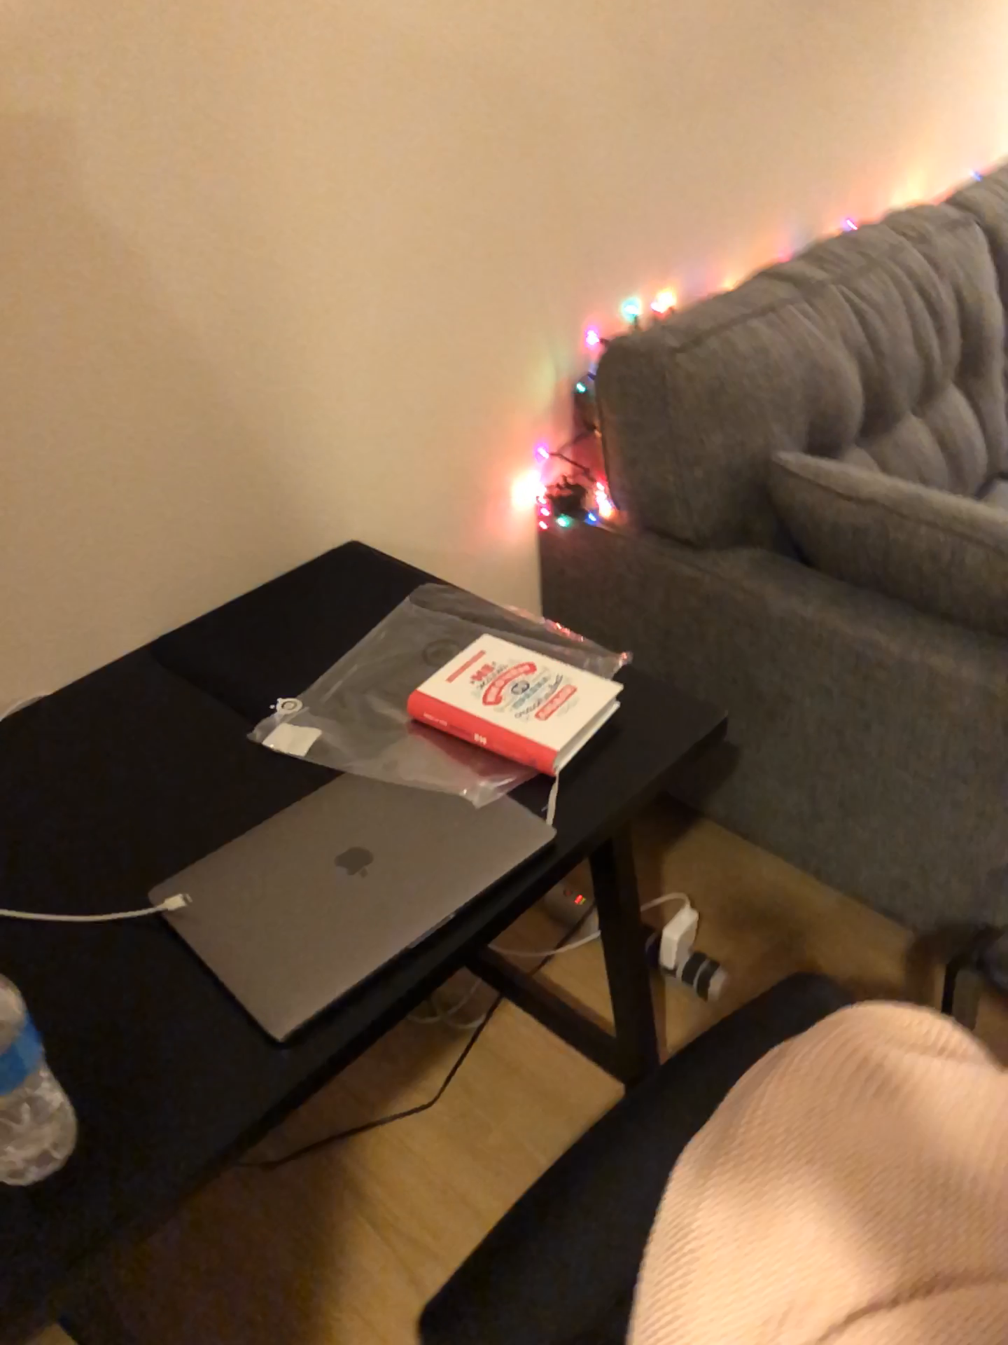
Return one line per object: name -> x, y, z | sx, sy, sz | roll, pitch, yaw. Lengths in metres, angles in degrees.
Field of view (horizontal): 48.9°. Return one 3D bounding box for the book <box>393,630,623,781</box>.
book -> 0.005, 0.028, 1.144 | 0.190, 0.030, 0.141 | 19, 41, 28
